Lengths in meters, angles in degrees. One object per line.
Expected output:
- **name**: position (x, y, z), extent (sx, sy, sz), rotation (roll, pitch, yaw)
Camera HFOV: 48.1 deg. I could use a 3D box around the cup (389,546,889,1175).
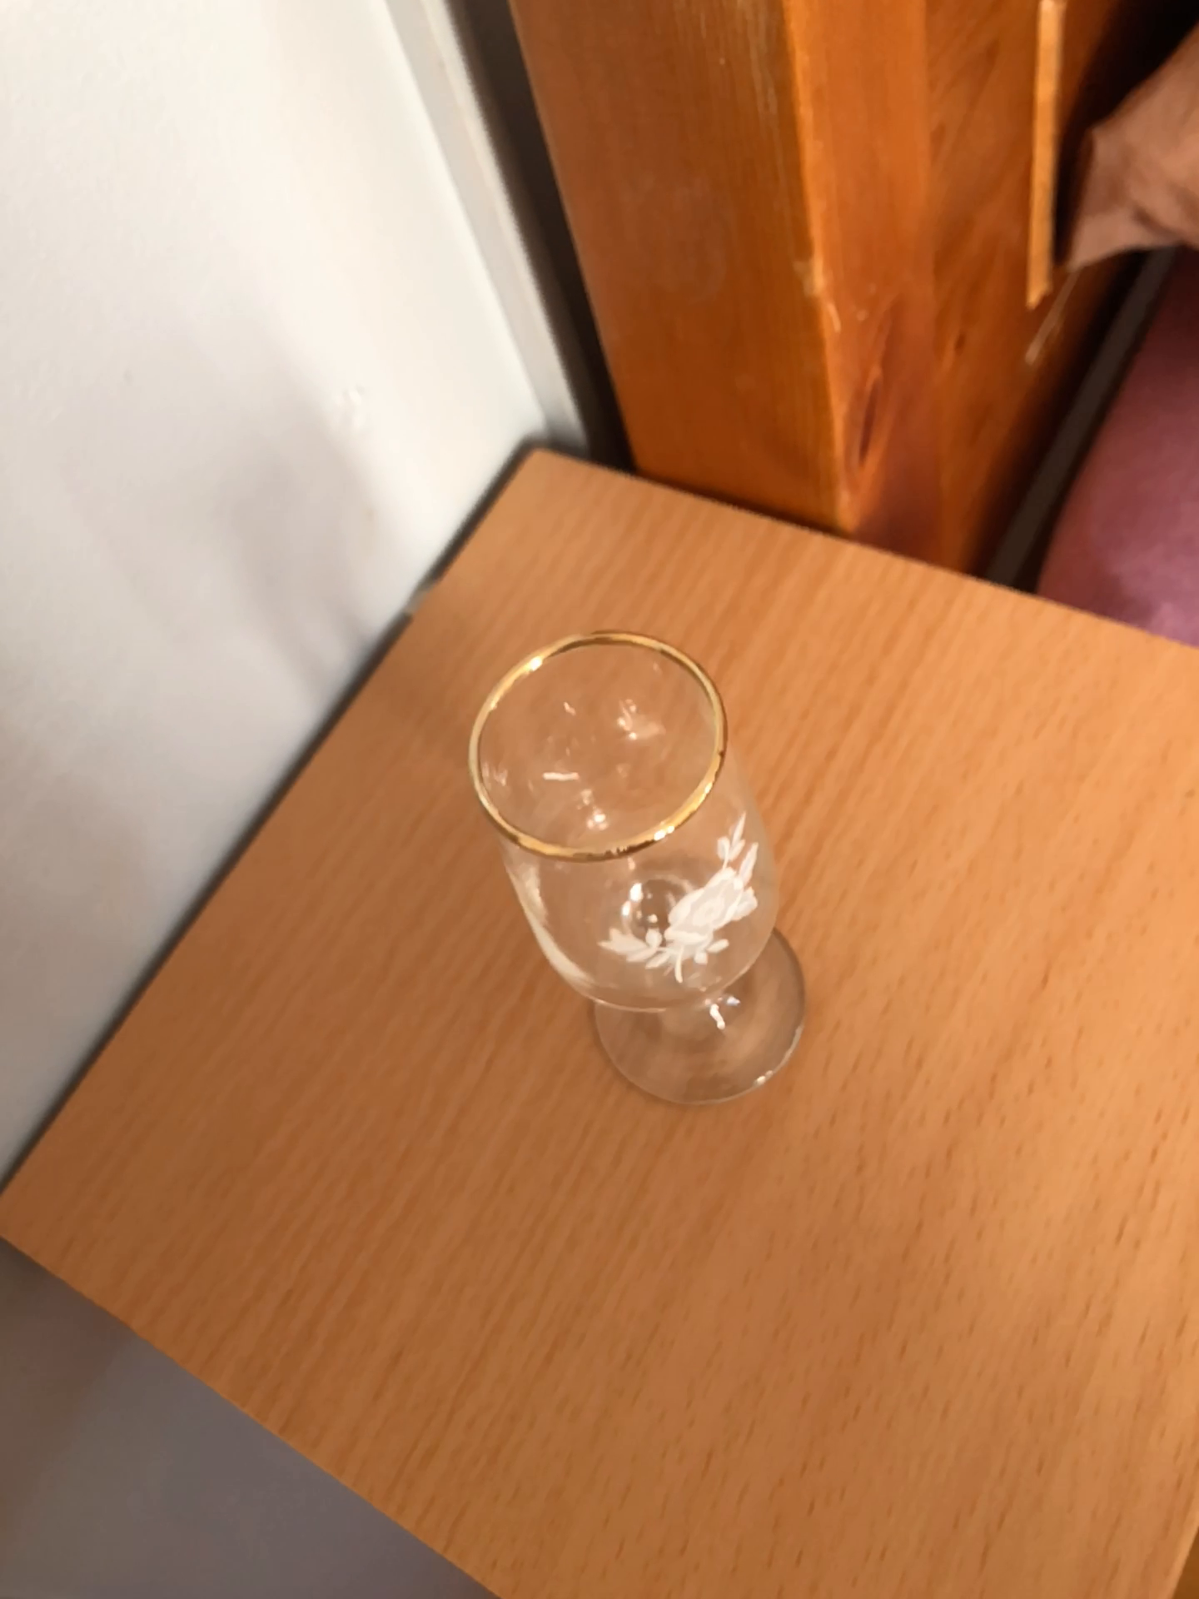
- **cup**: position (0.014, 0.018, 0.249), extent (0.052, 0.108, 0.056), rotation (-6, 59, 10)
